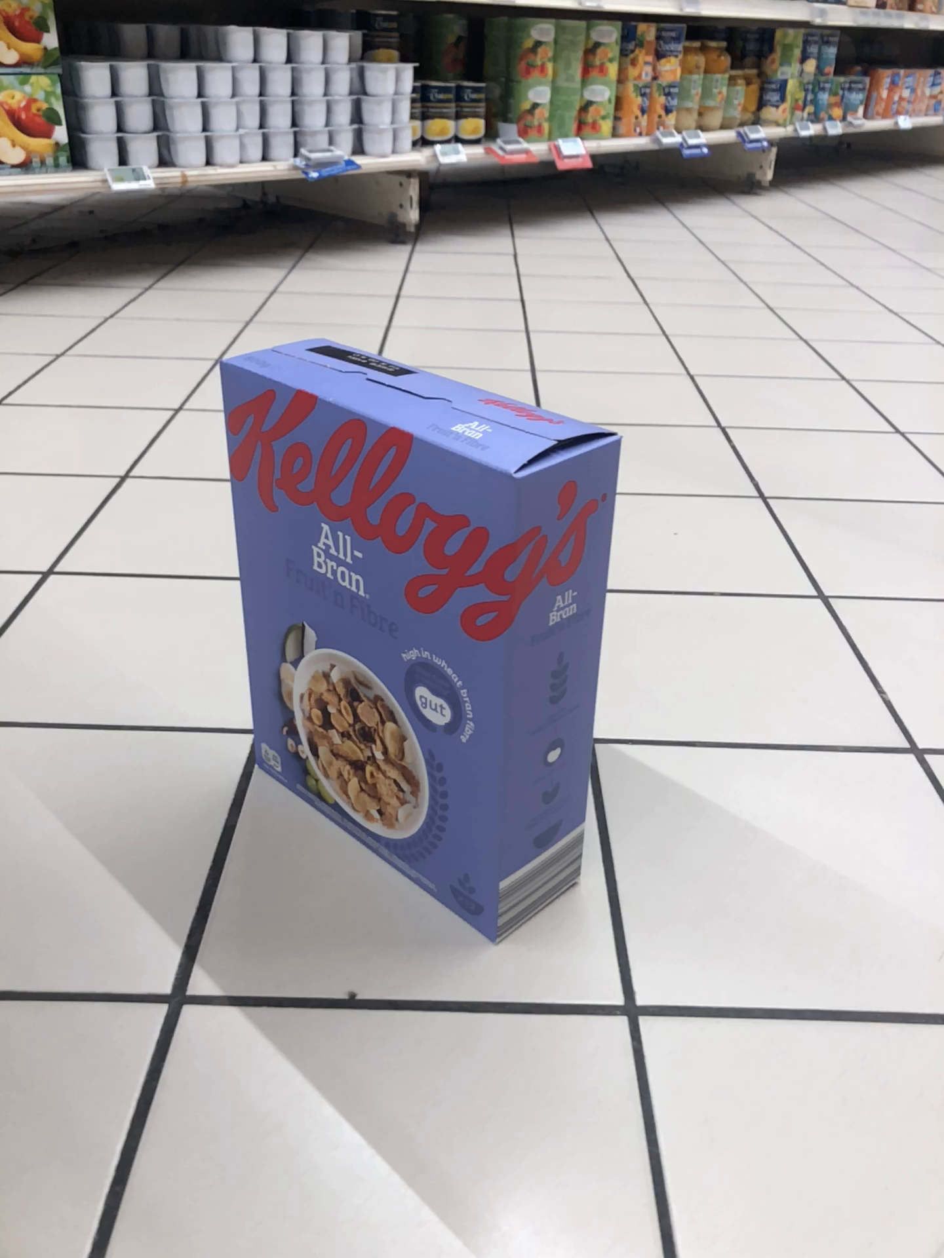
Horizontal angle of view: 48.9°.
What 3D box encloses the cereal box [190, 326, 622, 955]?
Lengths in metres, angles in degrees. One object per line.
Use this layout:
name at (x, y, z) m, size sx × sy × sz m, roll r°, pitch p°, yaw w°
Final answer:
cereal box at (-0.040, -0.002, 0.504) m, size 0.200 × 0.239 × 0.070 m, roll 27°, pitch 38°, yaw 37°
